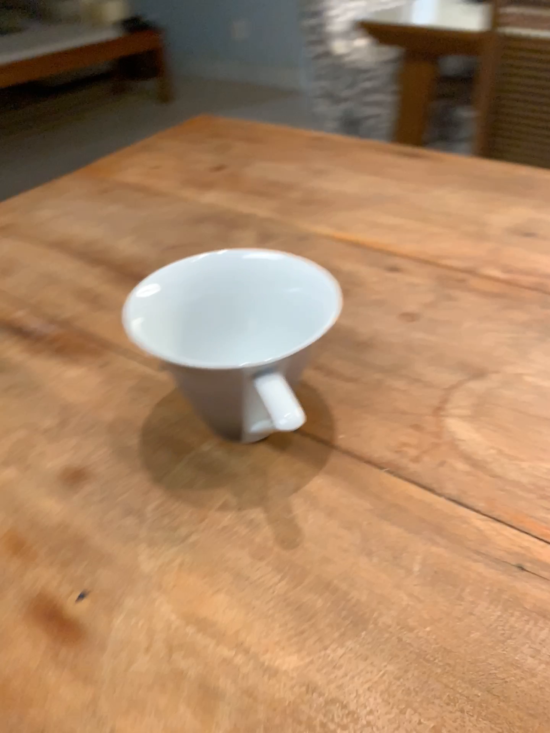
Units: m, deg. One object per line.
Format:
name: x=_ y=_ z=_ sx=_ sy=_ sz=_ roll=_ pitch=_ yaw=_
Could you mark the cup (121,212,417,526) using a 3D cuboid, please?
cup: x=-0.011 y=-0.009 z=0.253 sx=0.090 sy=0.060 sz=0.121 roll=-12 pitch=40 yaw=-12
